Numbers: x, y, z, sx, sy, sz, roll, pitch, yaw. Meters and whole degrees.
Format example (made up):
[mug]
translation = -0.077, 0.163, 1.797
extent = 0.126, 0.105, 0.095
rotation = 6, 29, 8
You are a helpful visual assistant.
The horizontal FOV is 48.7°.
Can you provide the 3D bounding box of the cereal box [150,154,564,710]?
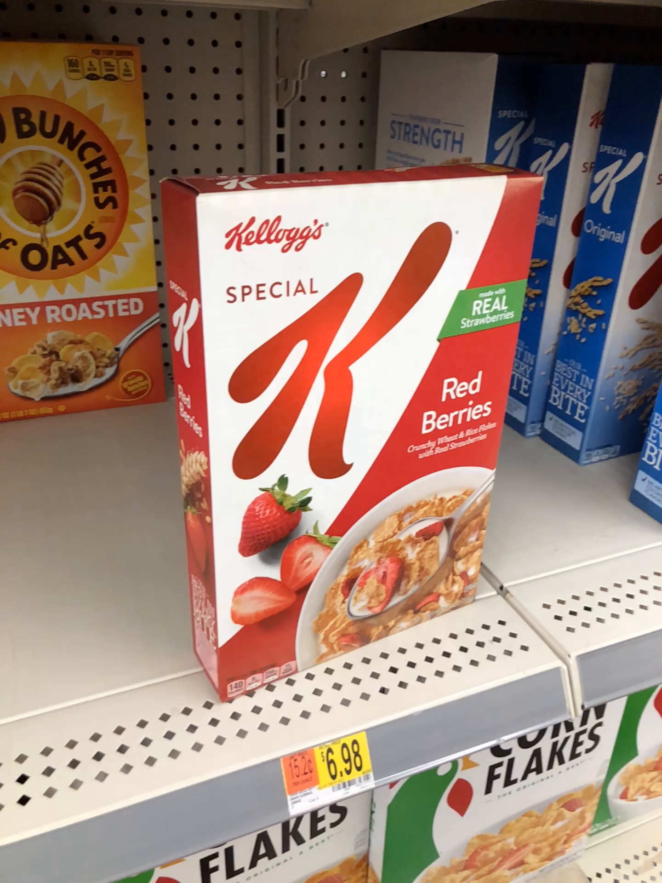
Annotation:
[cereal box]
translation = 0.014, -0.003, 0.418
extent = 0.200, 0.289, 0.050
rotation = -14, 33, -26
